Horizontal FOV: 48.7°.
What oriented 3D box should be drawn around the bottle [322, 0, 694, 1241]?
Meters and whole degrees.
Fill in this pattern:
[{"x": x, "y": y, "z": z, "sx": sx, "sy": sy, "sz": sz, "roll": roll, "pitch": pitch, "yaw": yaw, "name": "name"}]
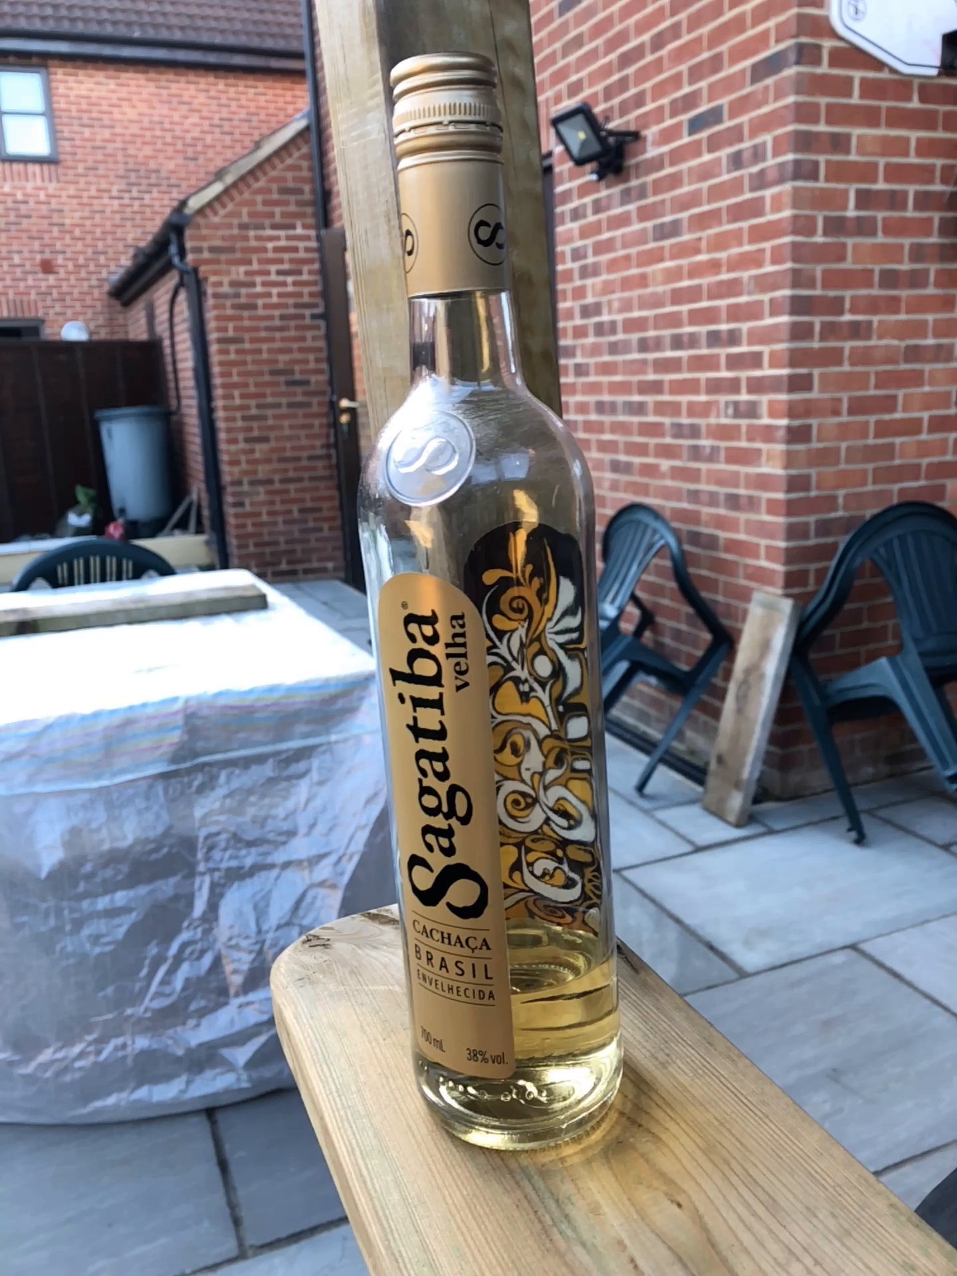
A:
[{"x": 0.015, "y": 0.005, "z": 0.319, "sx": 0.080, "sy": 0.329, "sz": 0.060, "roll": 7, "pitch": 15, "yaw": 36, "name": "bottle"}]
